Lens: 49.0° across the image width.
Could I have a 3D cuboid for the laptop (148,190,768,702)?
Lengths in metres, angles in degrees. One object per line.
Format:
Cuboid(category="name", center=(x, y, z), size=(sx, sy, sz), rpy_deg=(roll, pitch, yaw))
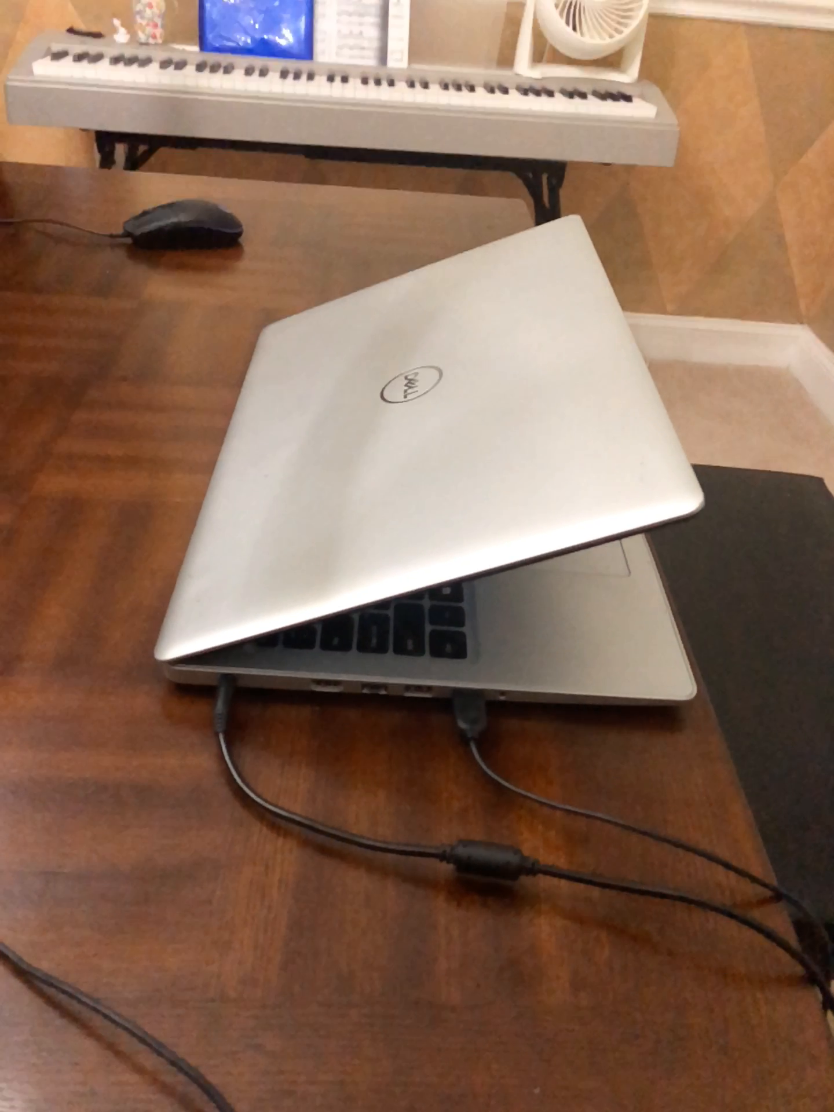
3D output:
Cuboid(category="laptop", center=(0.017, -0.094, 0.540), size=(0.249, 0.103, 0.370), rpy_deg=(5, 38, -4))
